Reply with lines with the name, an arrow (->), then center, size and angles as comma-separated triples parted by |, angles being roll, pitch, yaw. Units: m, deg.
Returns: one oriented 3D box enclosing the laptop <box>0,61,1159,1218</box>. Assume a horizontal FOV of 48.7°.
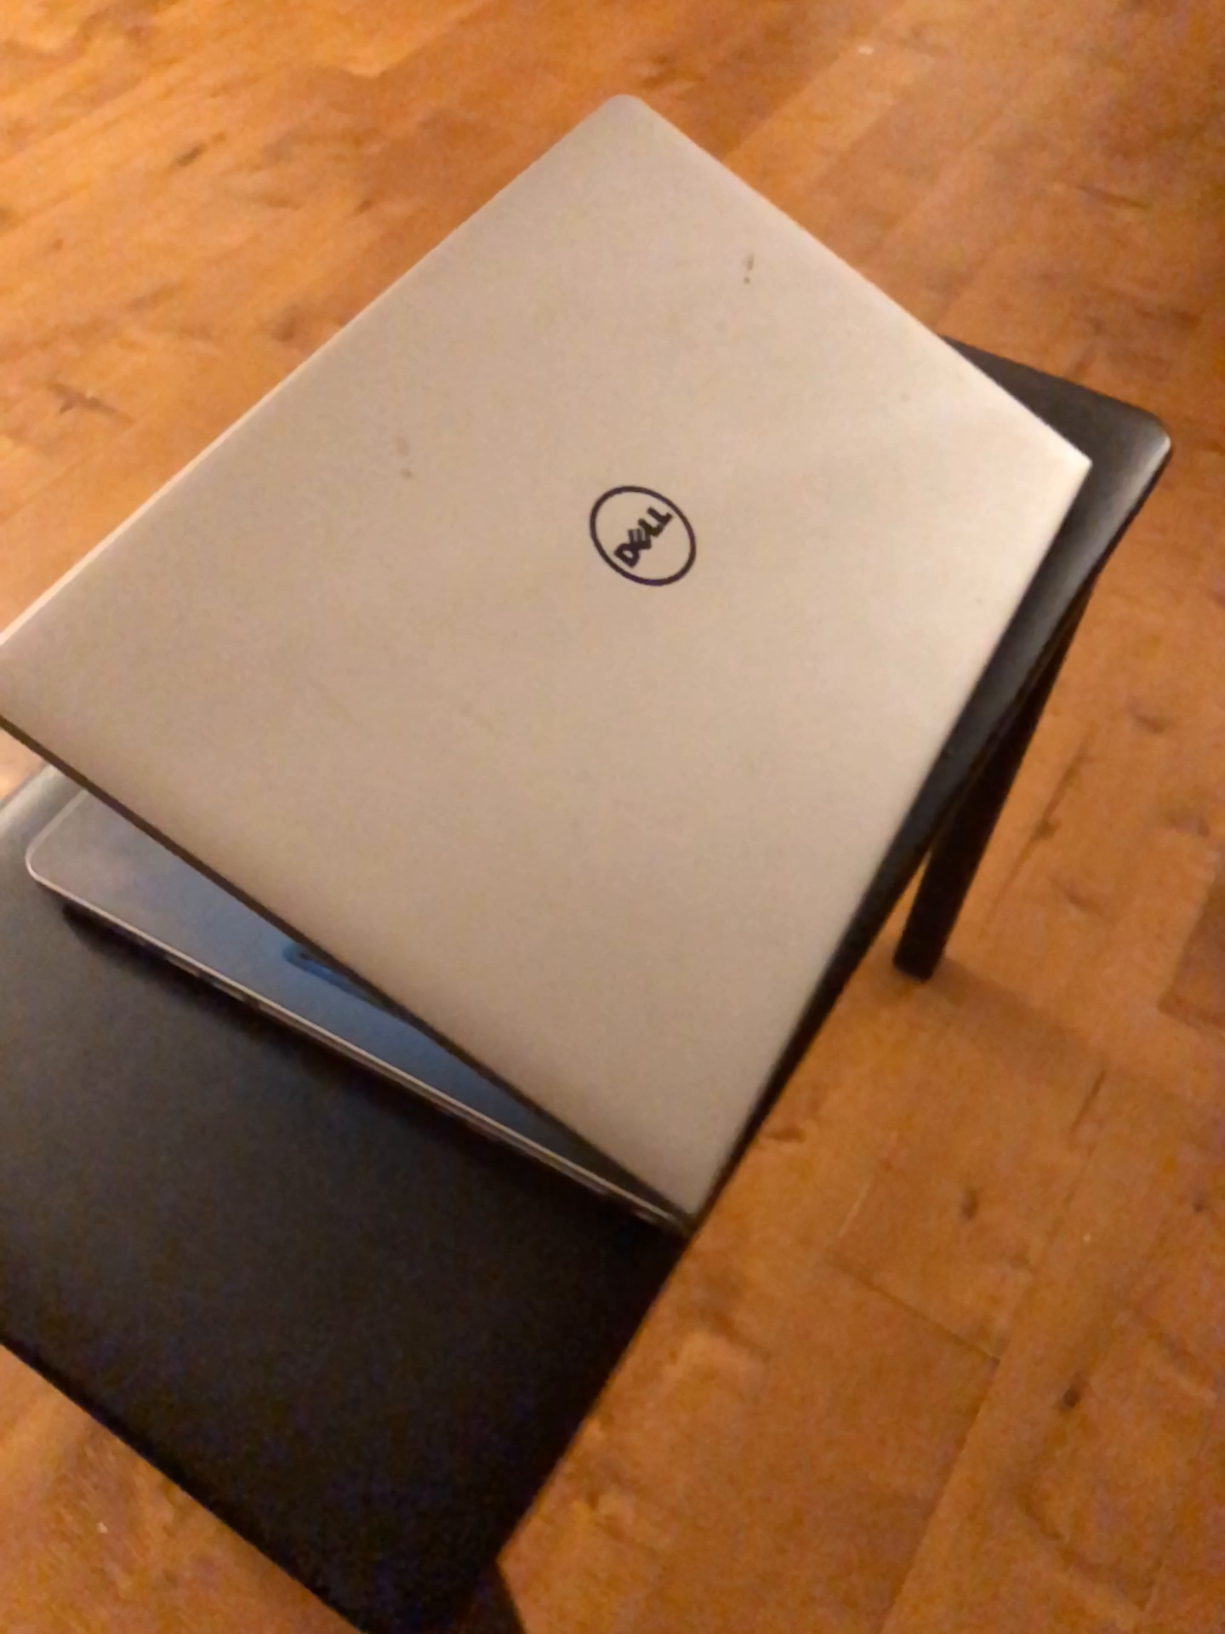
laptop -> -0.002, -0.096, 0.468 | 0.248, 0.107, 0.366 | 25, 58, 15
